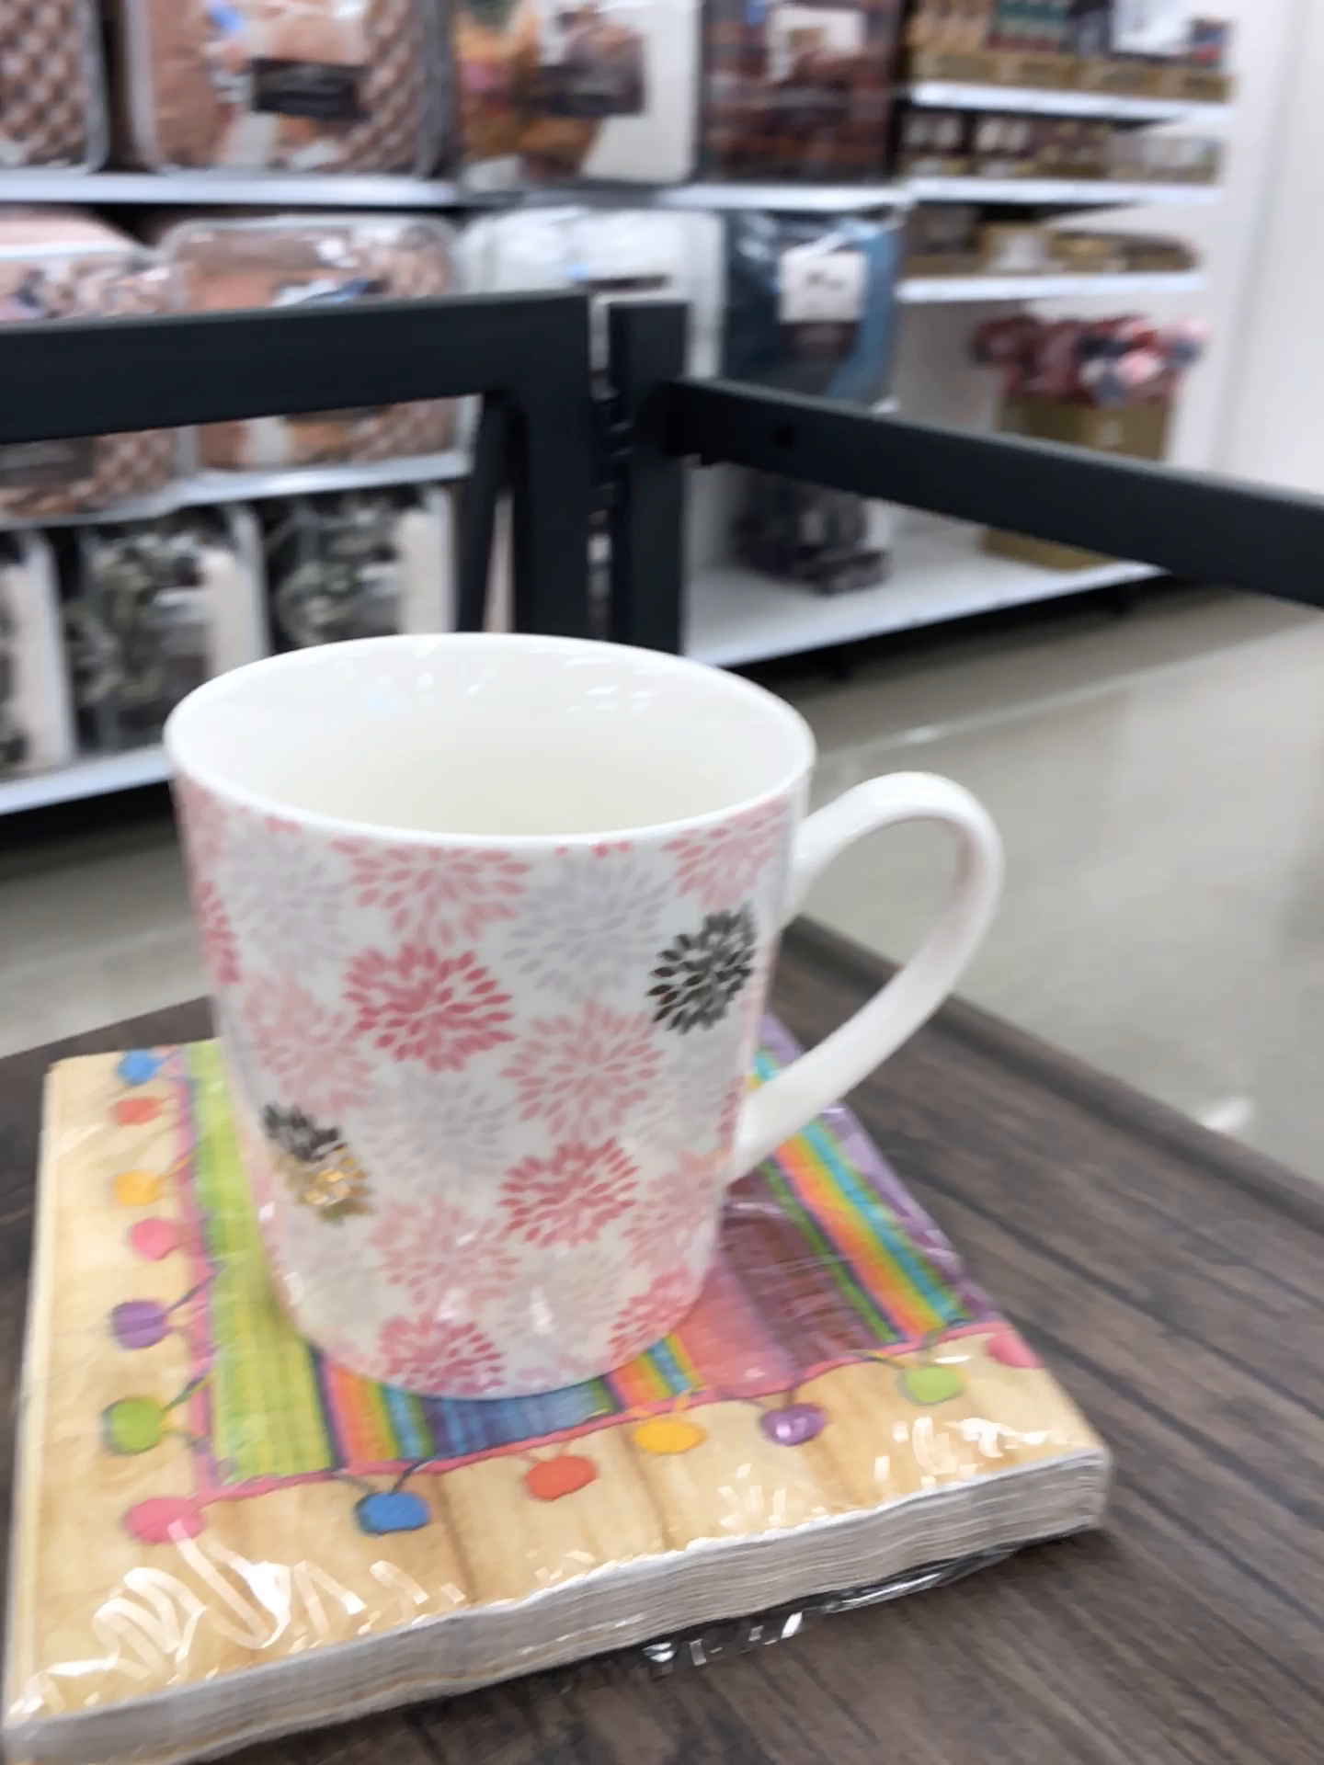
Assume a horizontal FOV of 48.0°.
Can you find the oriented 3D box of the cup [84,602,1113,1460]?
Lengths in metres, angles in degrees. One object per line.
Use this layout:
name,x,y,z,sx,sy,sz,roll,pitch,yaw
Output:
cup,-0.016,0.015,0.264,0.140,0.100,0.100,-5,26,-13
